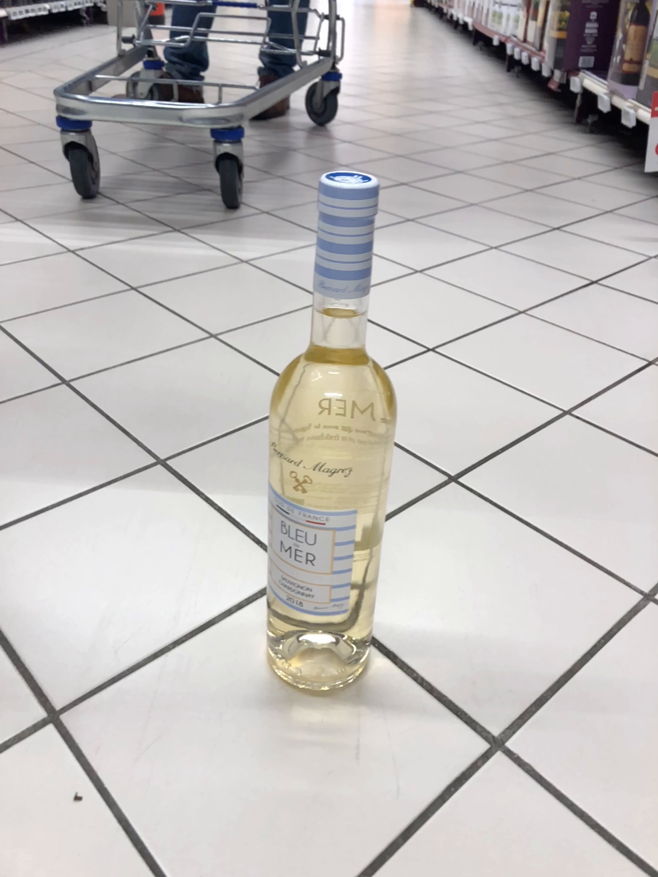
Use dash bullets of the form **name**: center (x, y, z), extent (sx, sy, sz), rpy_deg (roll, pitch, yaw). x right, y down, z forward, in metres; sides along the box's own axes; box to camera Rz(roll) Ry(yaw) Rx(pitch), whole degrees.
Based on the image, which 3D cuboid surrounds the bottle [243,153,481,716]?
- **bottle**: center (0.011, 0.012, 0.412), extent (0.080, 0.308, 0.081), rpy_deg (2, 32, -1)
